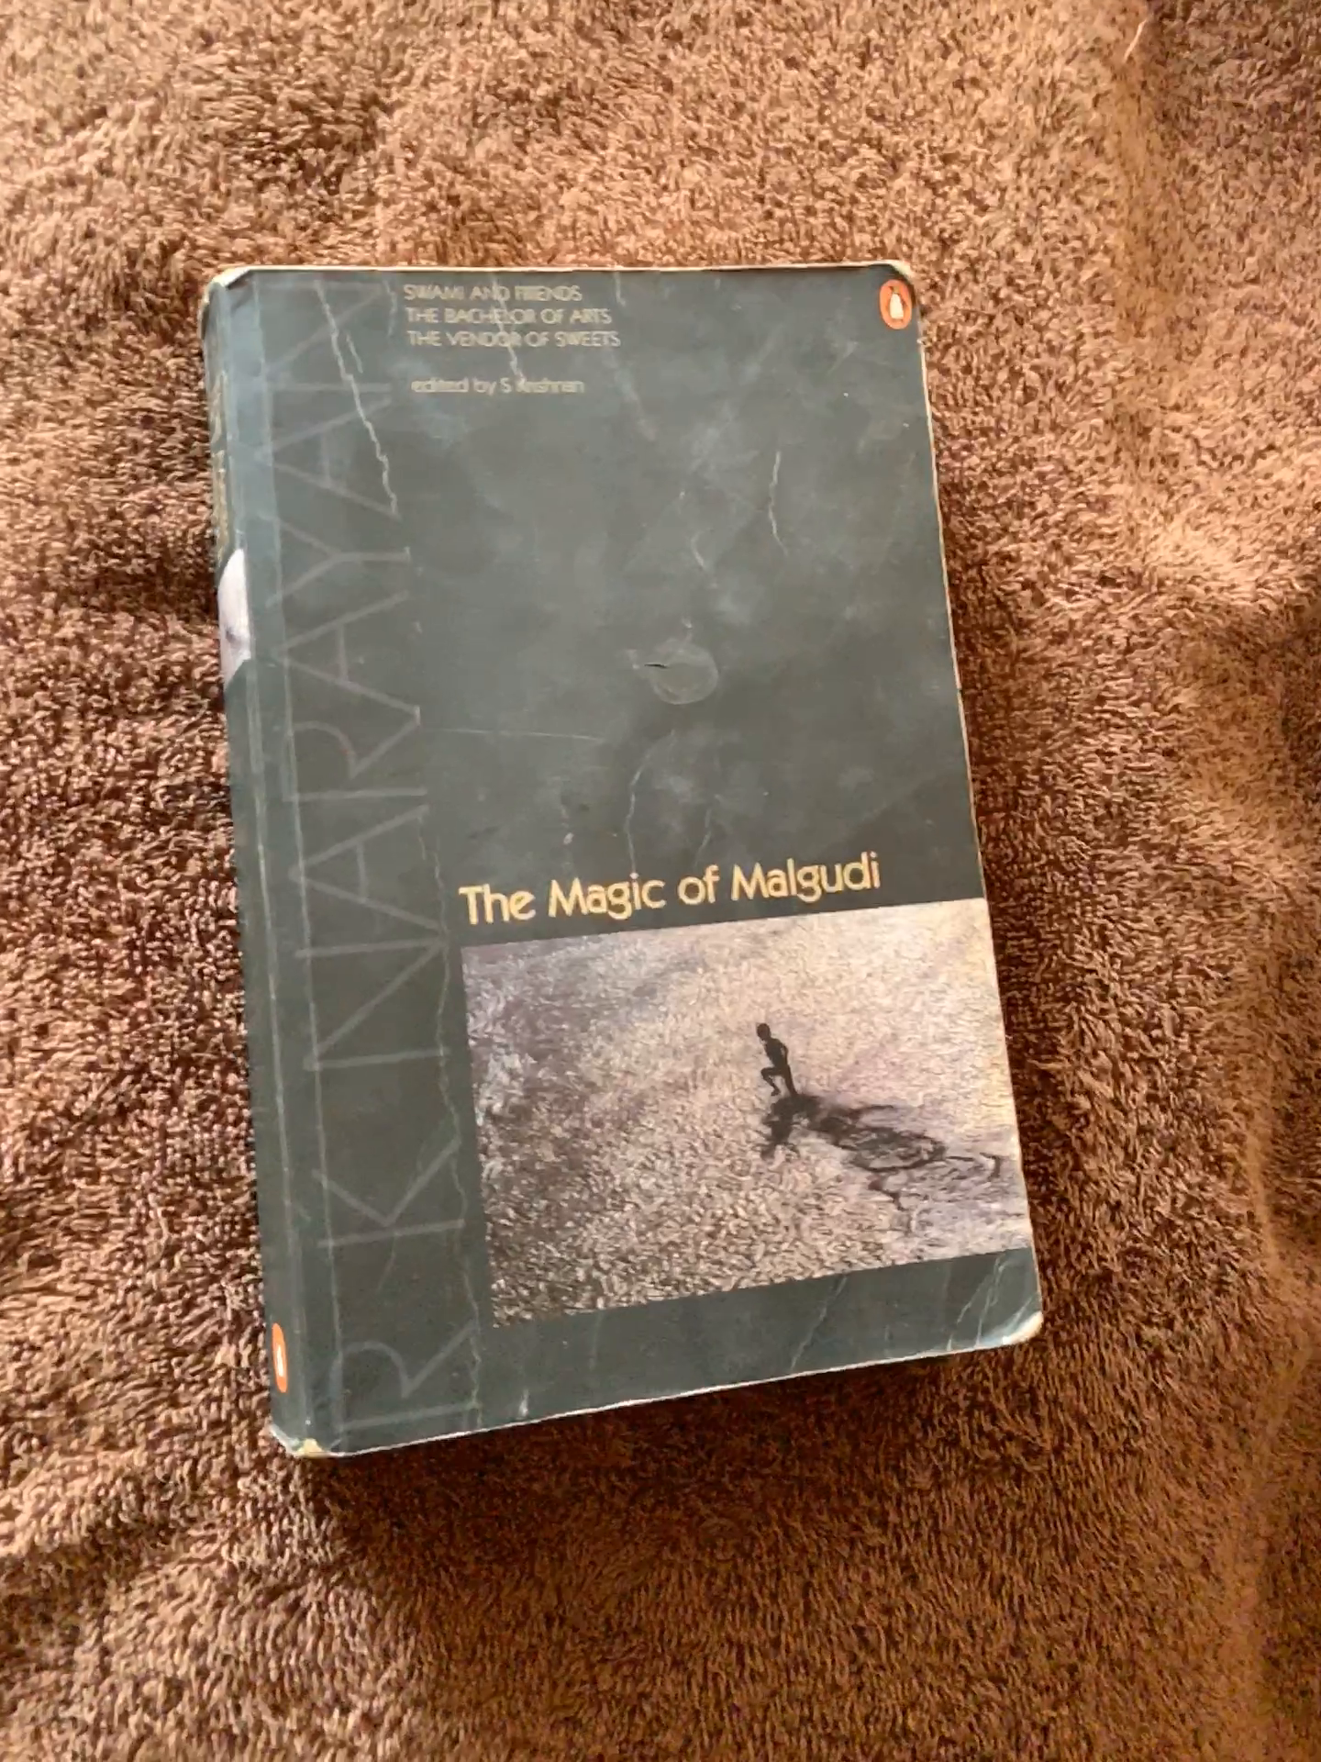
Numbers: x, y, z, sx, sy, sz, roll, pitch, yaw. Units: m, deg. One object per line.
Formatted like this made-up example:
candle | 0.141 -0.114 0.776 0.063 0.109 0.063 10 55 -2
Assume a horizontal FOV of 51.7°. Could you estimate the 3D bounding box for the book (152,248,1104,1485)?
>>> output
book | -0.006 -0.011 0.241 0.142 0.030 0.193 -5 84 -13
